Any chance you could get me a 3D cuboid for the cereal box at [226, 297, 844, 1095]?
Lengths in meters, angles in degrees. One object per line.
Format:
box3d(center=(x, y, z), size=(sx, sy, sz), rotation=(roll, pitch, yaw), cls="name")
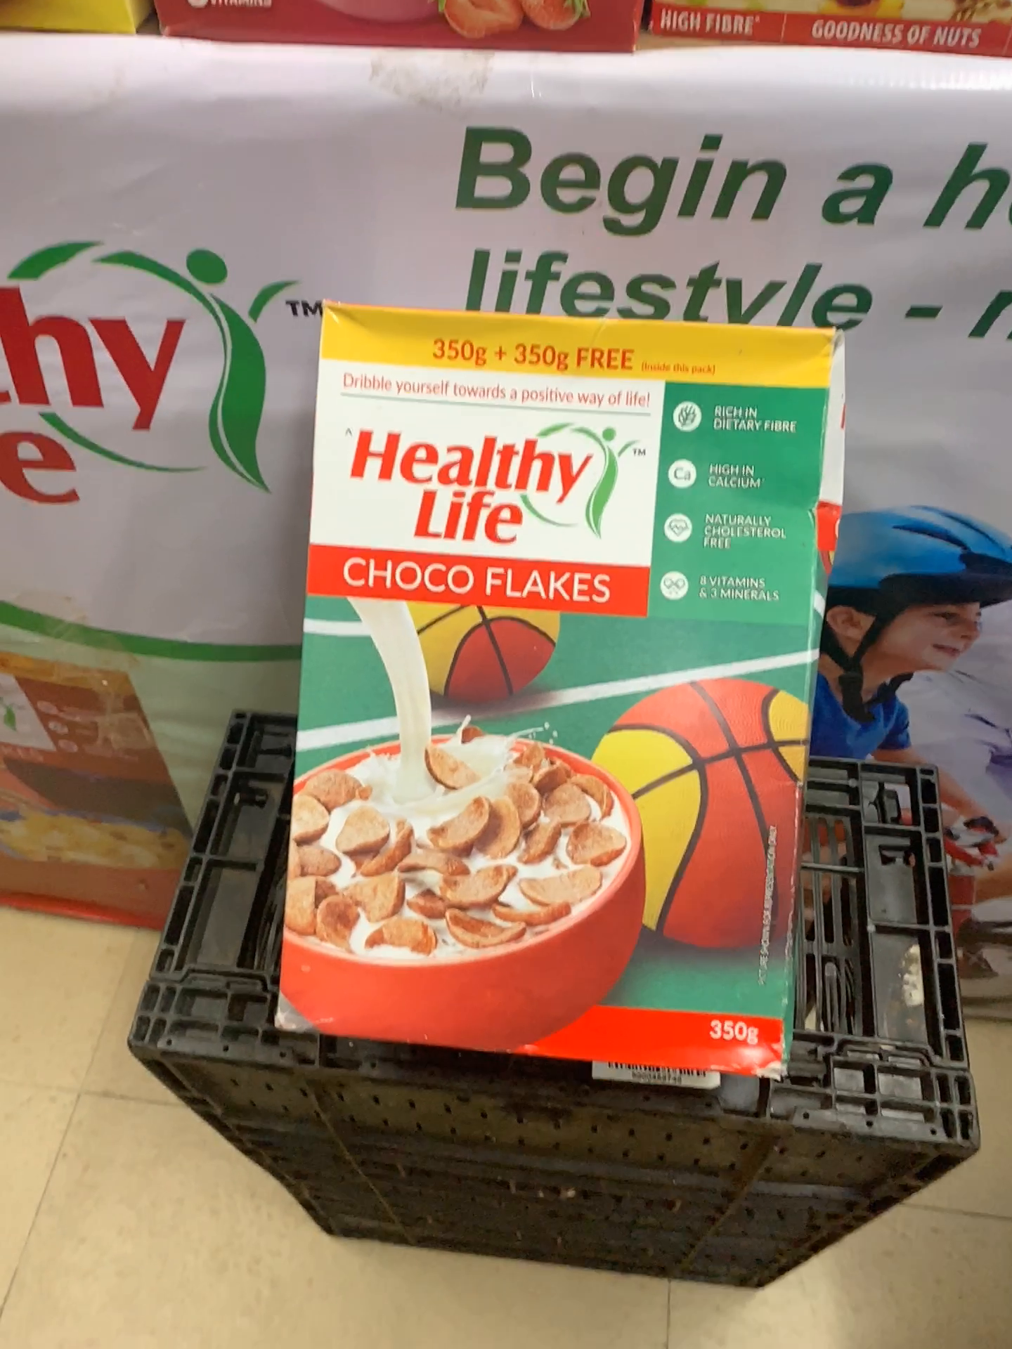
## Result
box3d(center=(0.010, 0.005, 0.425), size=(0.210, 0.090, 0.280), rotation=(4, 93, 5), cls="cereal box")
